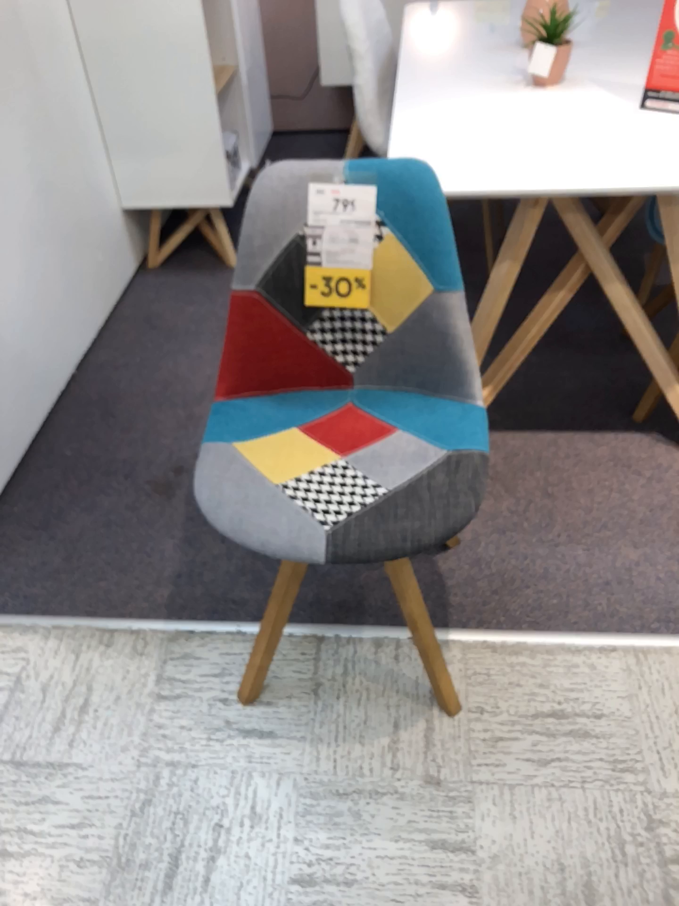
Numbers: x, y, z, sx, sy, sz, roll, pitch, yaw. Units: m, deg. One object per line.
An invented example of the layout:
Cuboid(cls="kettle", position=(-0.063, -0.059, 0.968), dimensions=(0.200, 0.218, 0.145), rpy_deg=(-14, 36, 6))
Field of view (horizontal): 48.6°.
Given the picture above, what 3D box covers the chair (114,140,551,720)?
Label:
Cuboid(cls="chair", position=(0.027, -0.011, 1.261), dimensions=(0.470, 0.815, 0.513), rpy_deg=(0, 41, 5))
